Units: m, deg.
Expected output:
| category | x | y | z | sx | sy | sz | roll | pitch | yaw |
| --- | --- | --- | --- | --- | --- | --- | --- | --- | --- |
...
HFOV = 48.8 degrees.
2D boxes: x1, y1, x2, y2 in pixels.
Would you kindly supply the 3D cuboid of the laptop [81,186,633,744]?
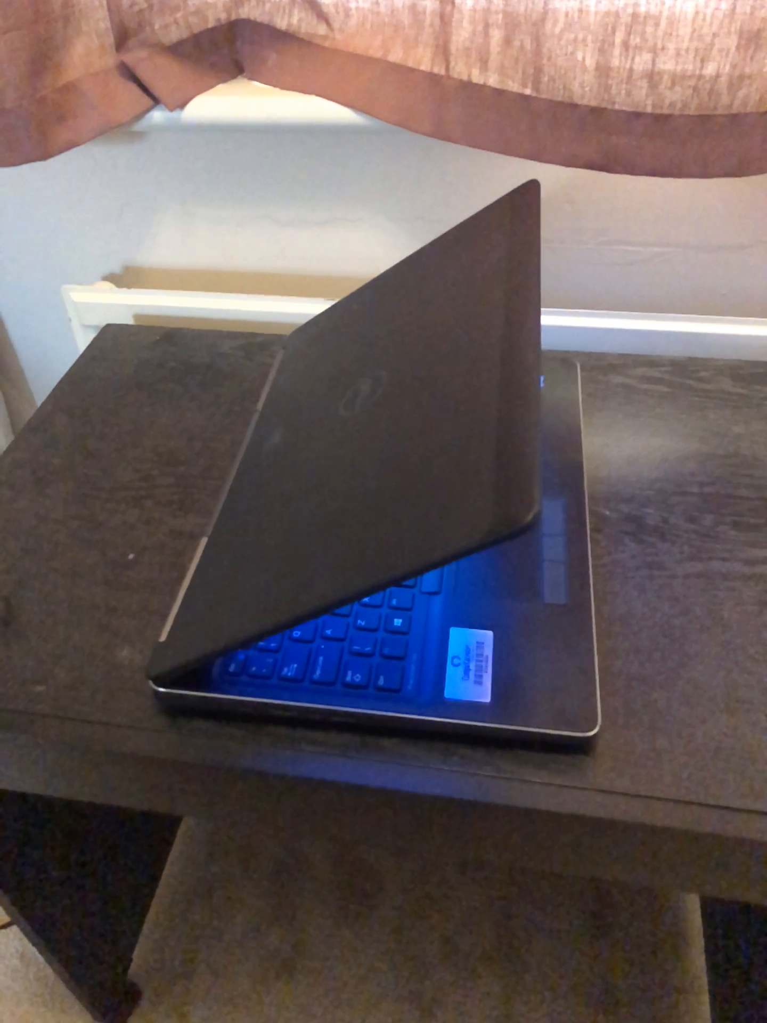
| category | x | y | z | sx | sy | sz | roll | pitch | yaw |
| --- | --- | --- | --- | --- | --- | --- | --- | --- | --- |
| laptop | 0.010 | -0.066 | 0.540 | 0.243 | 0.134 | 0.364 | 4 | 43 | 8 |
